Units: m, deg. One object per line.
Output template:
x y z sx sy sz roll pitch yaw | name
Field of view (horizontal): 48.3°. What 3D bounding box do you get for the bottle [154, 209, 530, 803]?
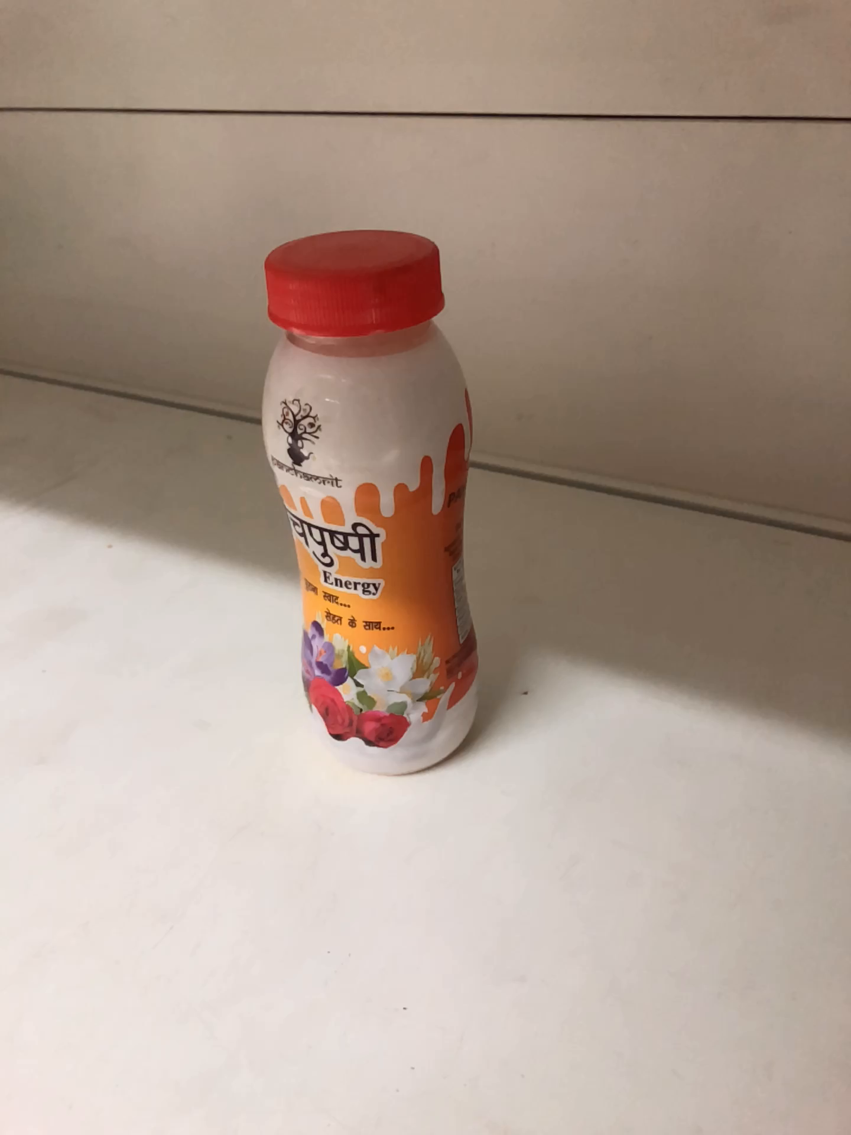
-0.014 -0.017 0.244 0.060 0.129 0.060 -2 29 1 | bottle
